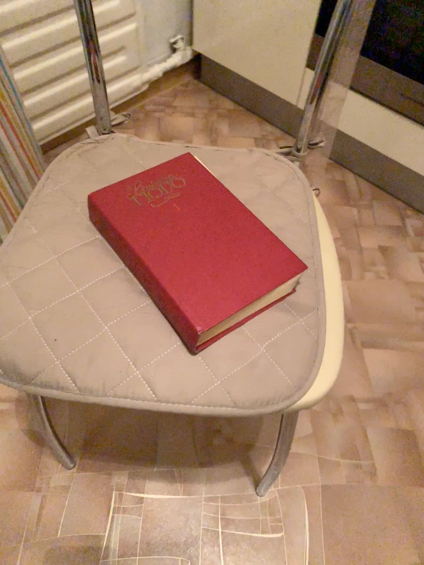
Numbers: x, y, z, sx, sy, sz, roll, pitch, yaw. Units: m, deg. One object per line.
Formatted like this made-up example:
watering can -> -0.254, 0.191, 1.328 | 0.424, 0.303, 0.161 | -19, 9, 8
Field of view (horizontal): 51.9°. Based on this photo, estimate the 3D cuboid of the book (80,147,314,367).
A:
book -> -0.021, -0.038, 0.454 | 0.140, 0.060, 0.201 | -30, 62, -22
